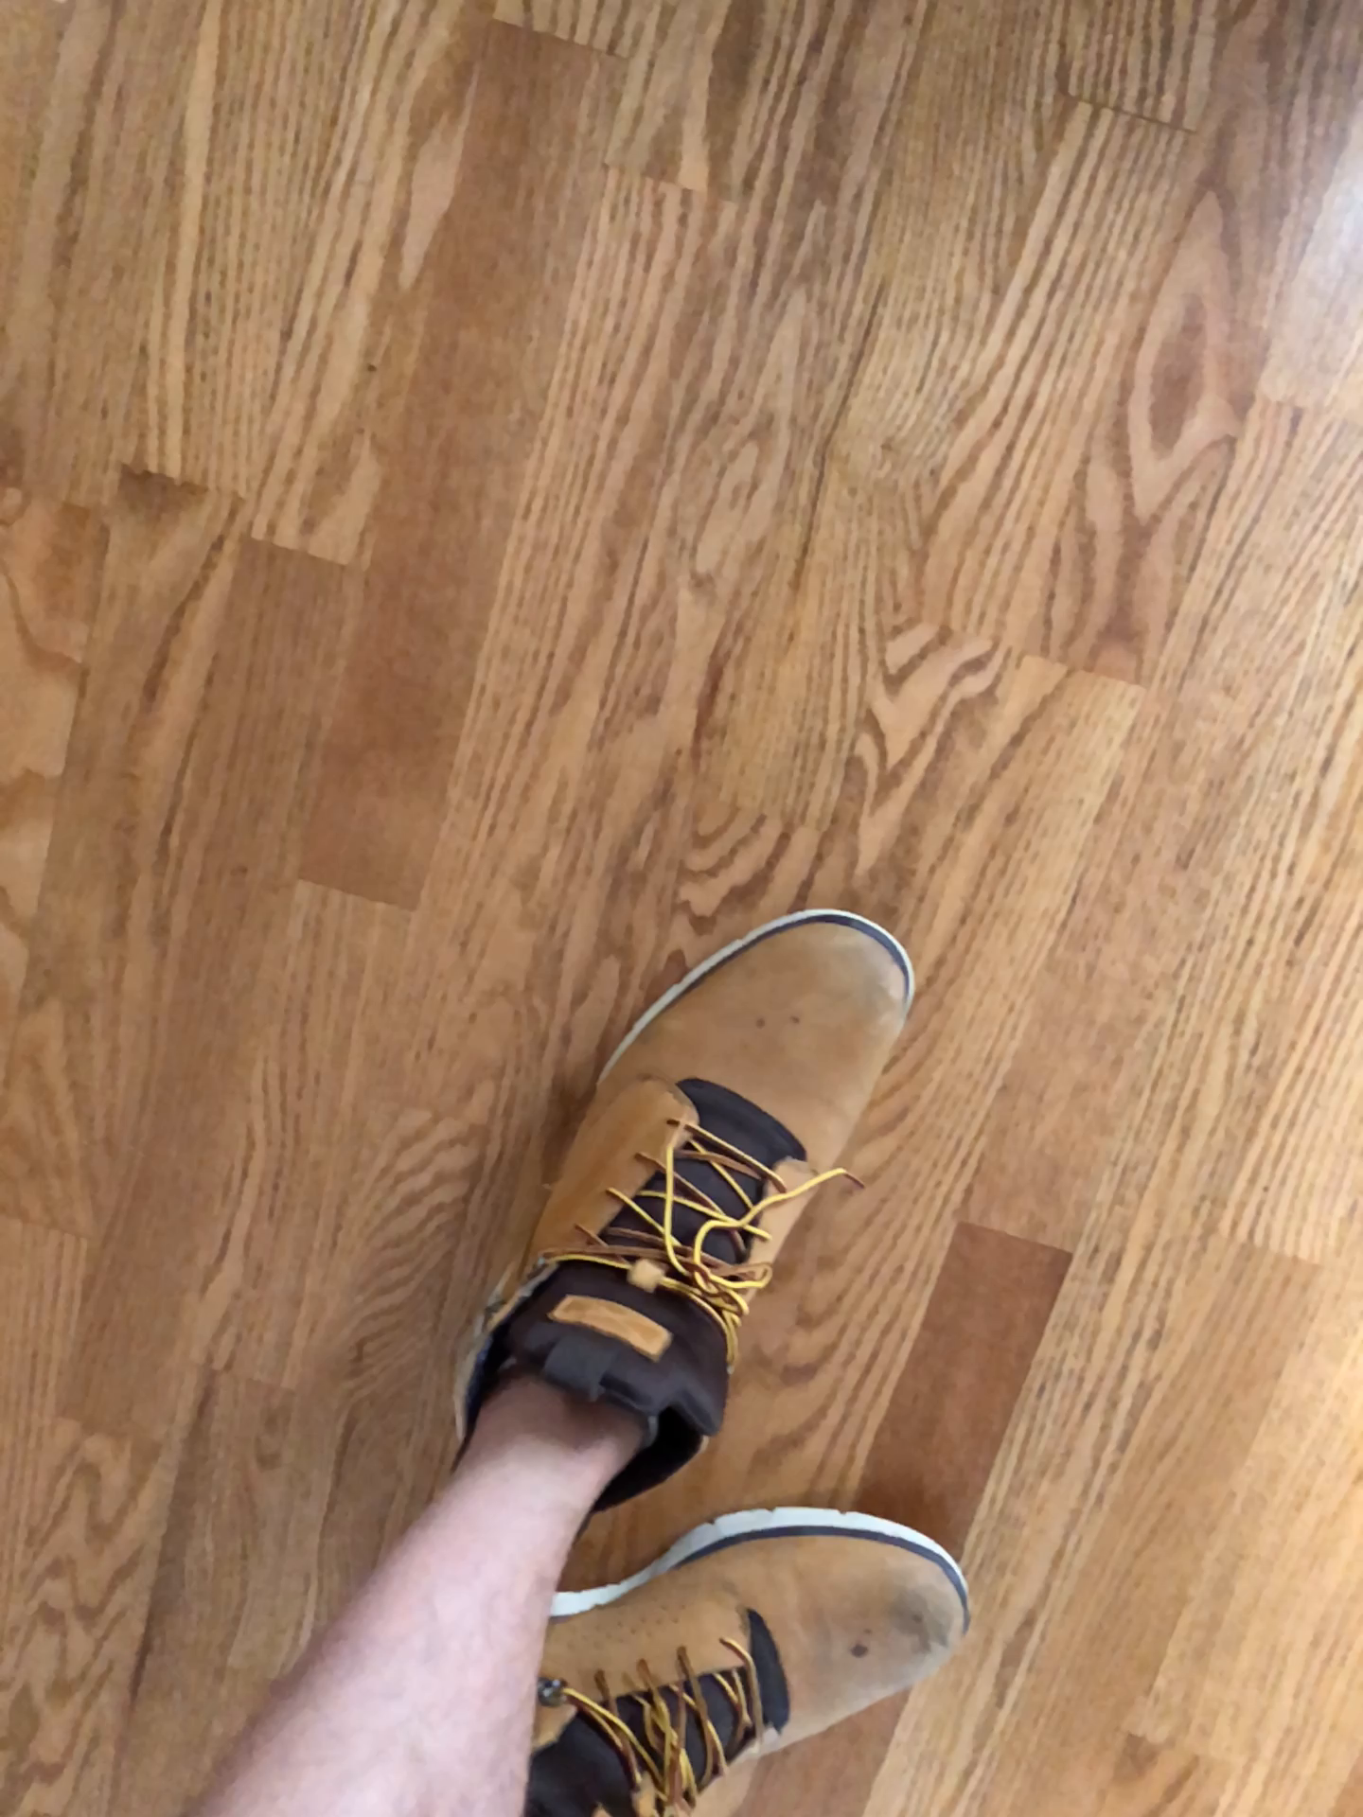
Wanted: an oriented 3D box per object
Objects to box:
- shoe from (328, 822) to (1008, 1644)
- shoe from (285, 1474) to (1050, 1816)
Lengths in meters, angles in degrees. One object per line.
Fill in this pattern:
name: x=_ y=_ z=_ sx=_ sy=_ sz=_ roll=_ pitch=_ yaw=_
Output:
shoe: x=-0.008 y=0.132 z=0.680 sx=0.130 sy=0.140 sz=0.320 roll=31 pitch=93 yaw=-3
shoe: x=0.004 y=0.388 z=0.699 sx=0.300 sy=0.170 sz=0.130 roll=-14 pitch=99 yaw=18
